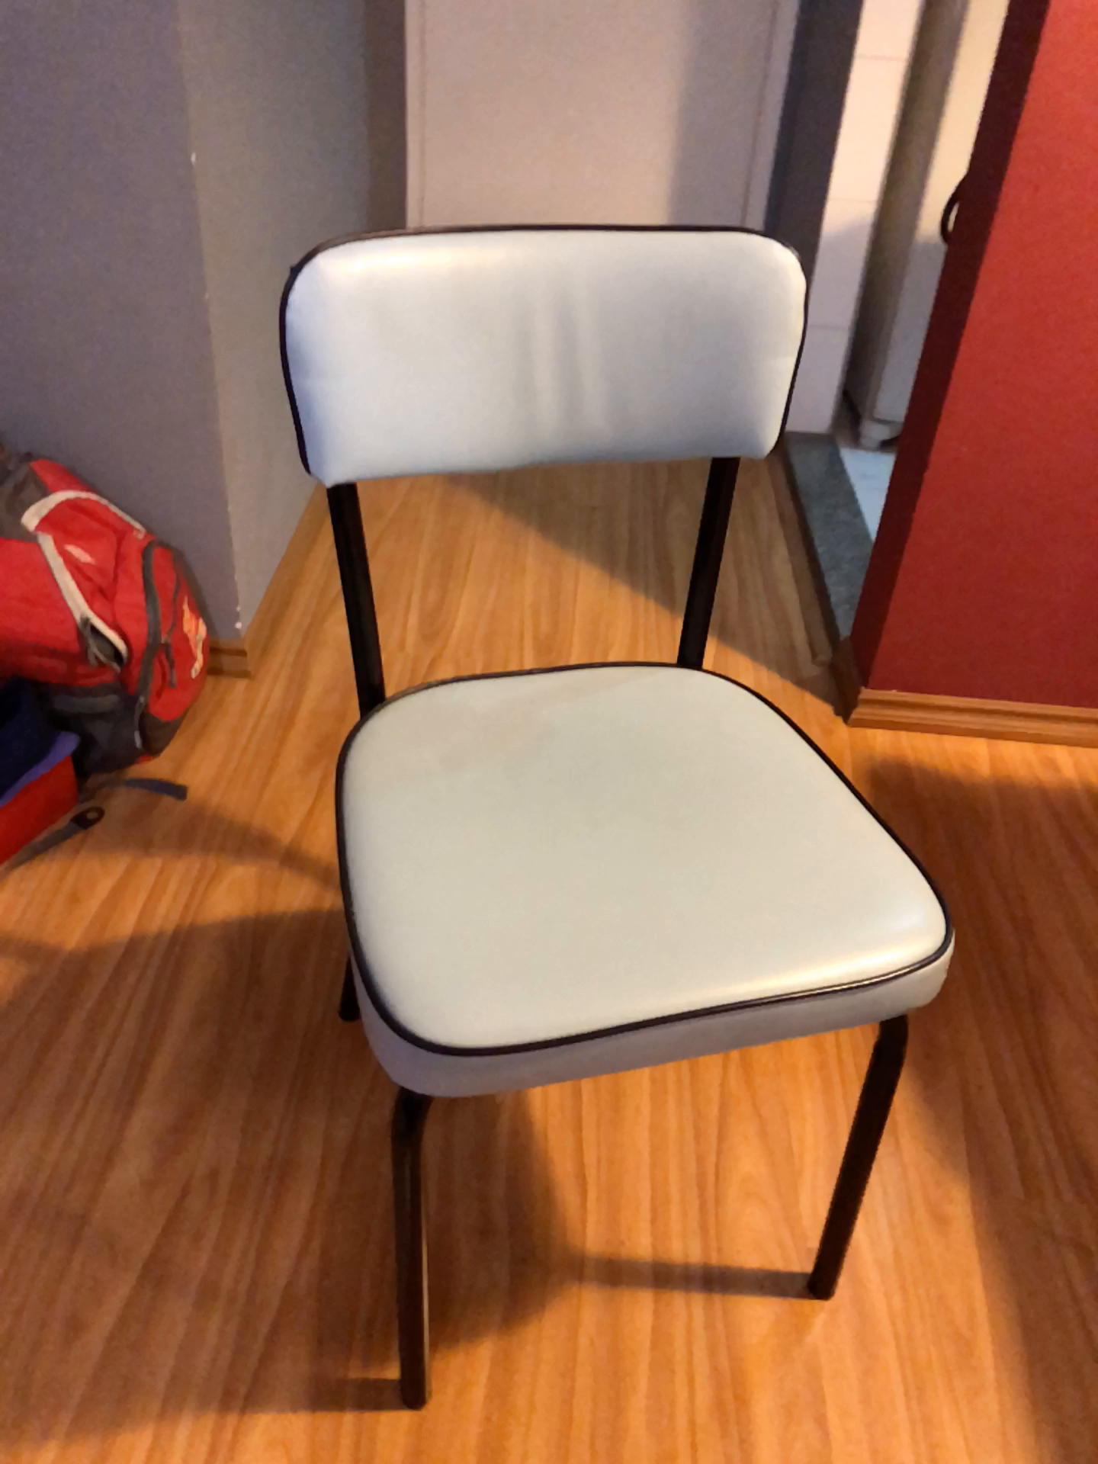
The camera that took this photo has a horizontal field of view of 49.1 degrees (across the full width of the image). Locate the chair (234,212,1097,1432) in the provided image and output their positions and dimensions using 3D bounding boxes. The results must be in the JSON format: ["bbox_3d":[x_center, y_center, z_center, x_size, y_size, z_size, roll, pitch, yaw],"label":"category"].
[{"bbox_3d":[0.035,0.066,0.978,0.450,0.794,0.504,-7,38,-15],"label":"chair"}]
